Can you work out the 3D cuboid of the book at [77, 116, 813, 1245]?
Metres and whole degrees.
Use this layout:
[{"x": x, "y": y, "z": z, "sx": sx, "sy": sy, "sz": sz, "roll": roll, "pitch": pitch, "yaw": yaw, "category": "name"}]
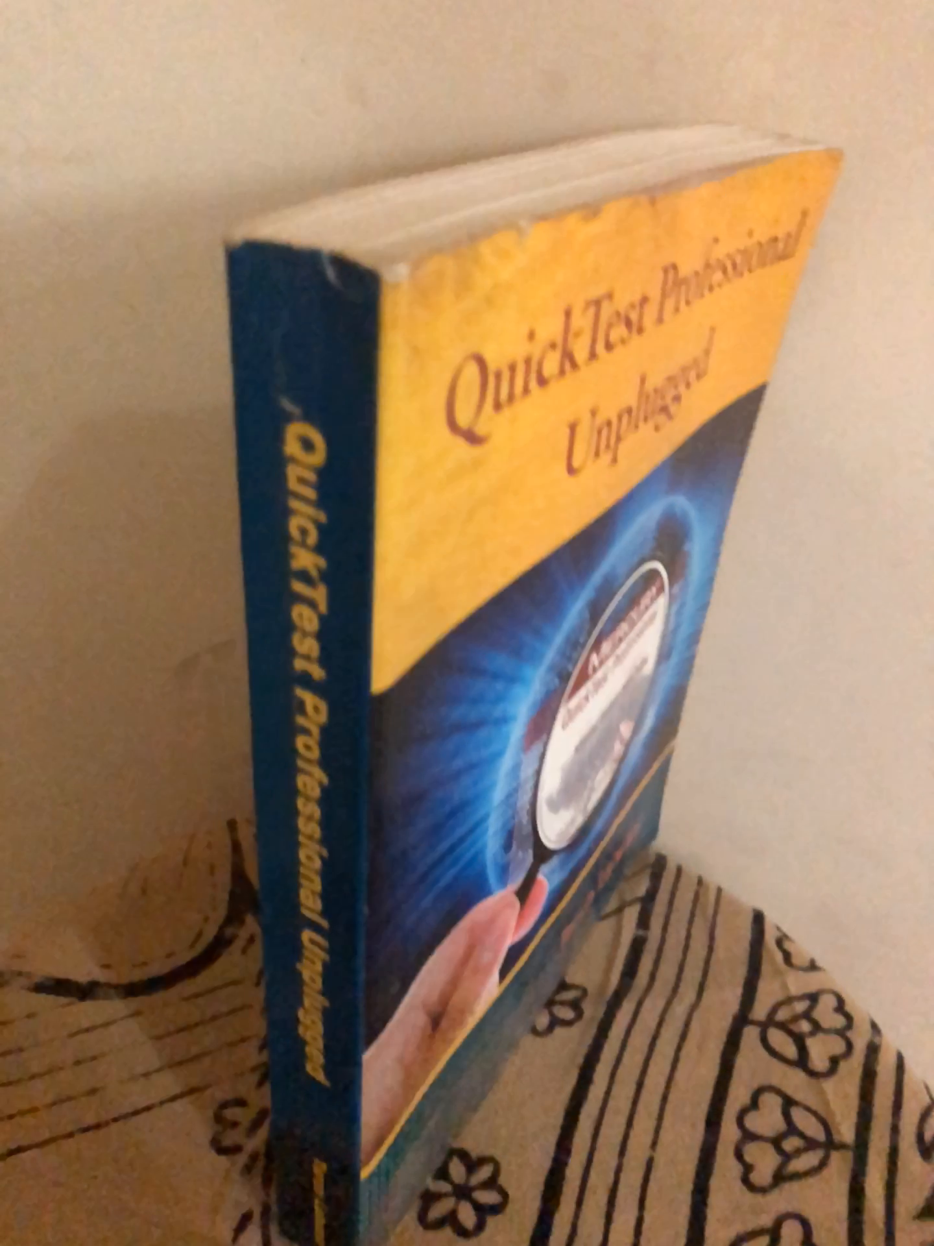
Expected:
[{"x": 0.011, "y": 0.015, "z": 0.287, "sx": 0.050, "sy": 0.269, "sz": 0.211, "roll": 20, "pitch": 33, "yaw": 25, "category": "book"}]
